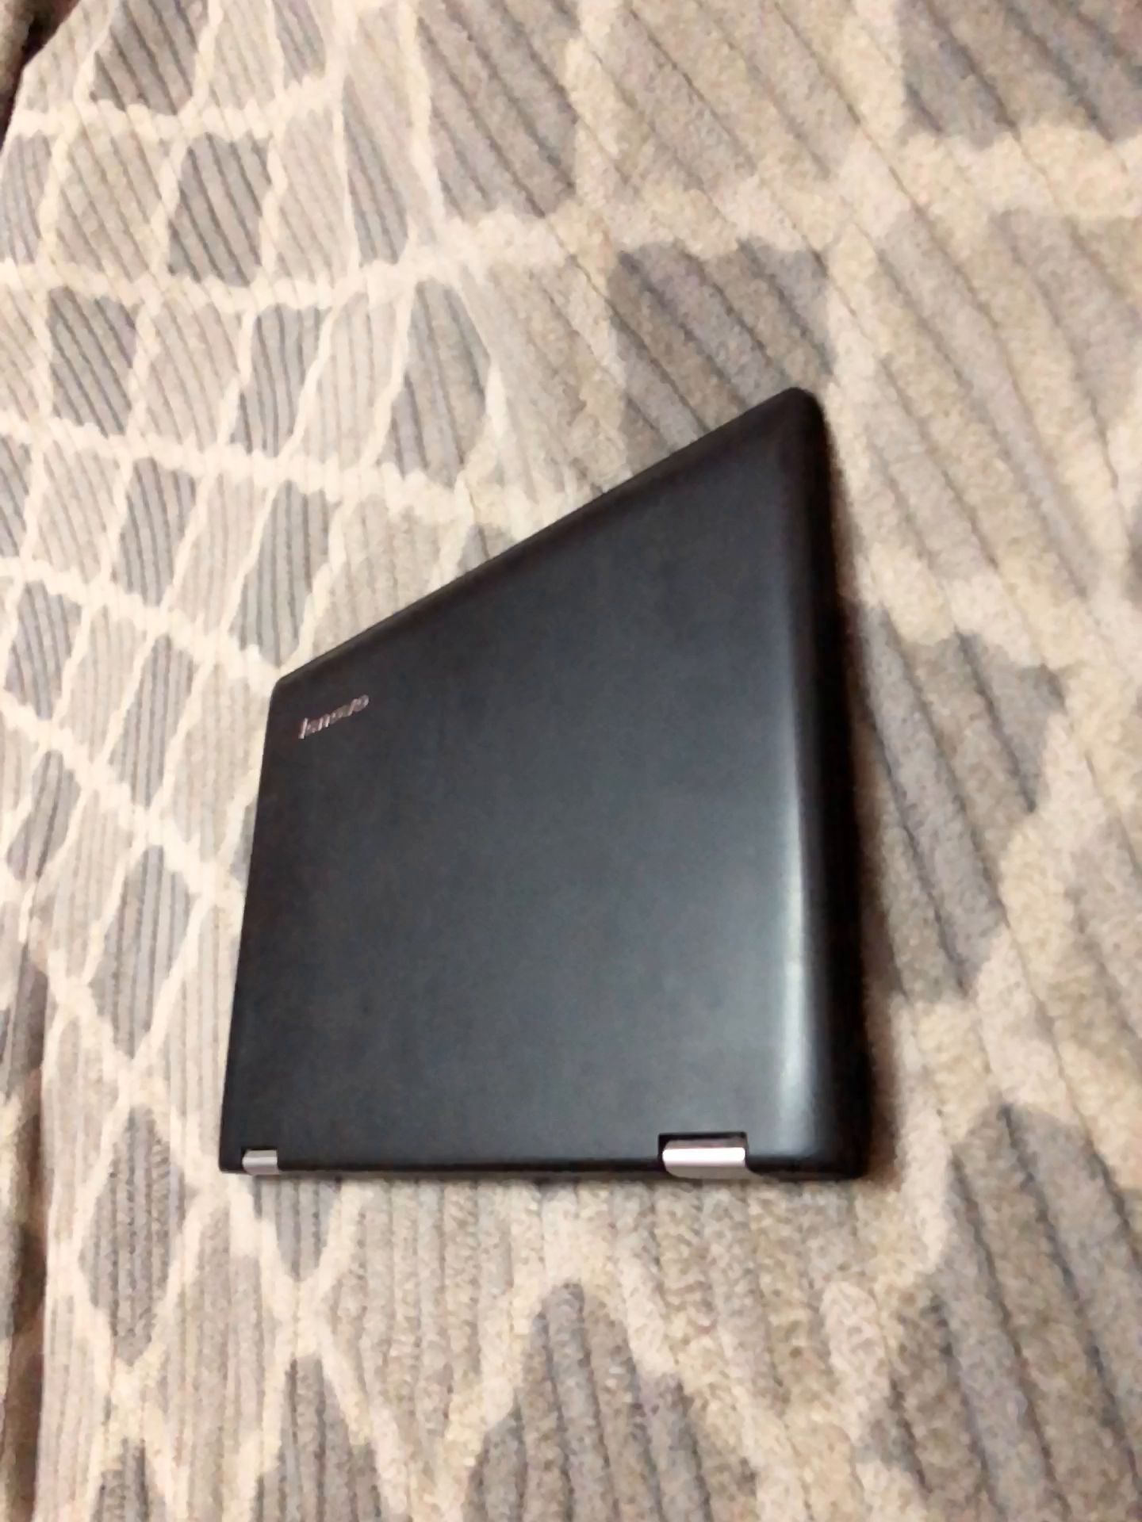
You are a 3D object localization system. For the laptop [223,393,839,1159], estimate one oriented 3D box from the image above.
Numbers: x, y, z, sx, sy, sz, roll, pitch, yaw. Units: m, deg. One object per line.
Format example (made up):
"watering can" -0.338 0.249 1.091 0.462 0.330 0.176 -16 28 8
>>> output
"laptop" -0.042 0.032 0.488 0.341 0.005 0.231 -20 63 45
